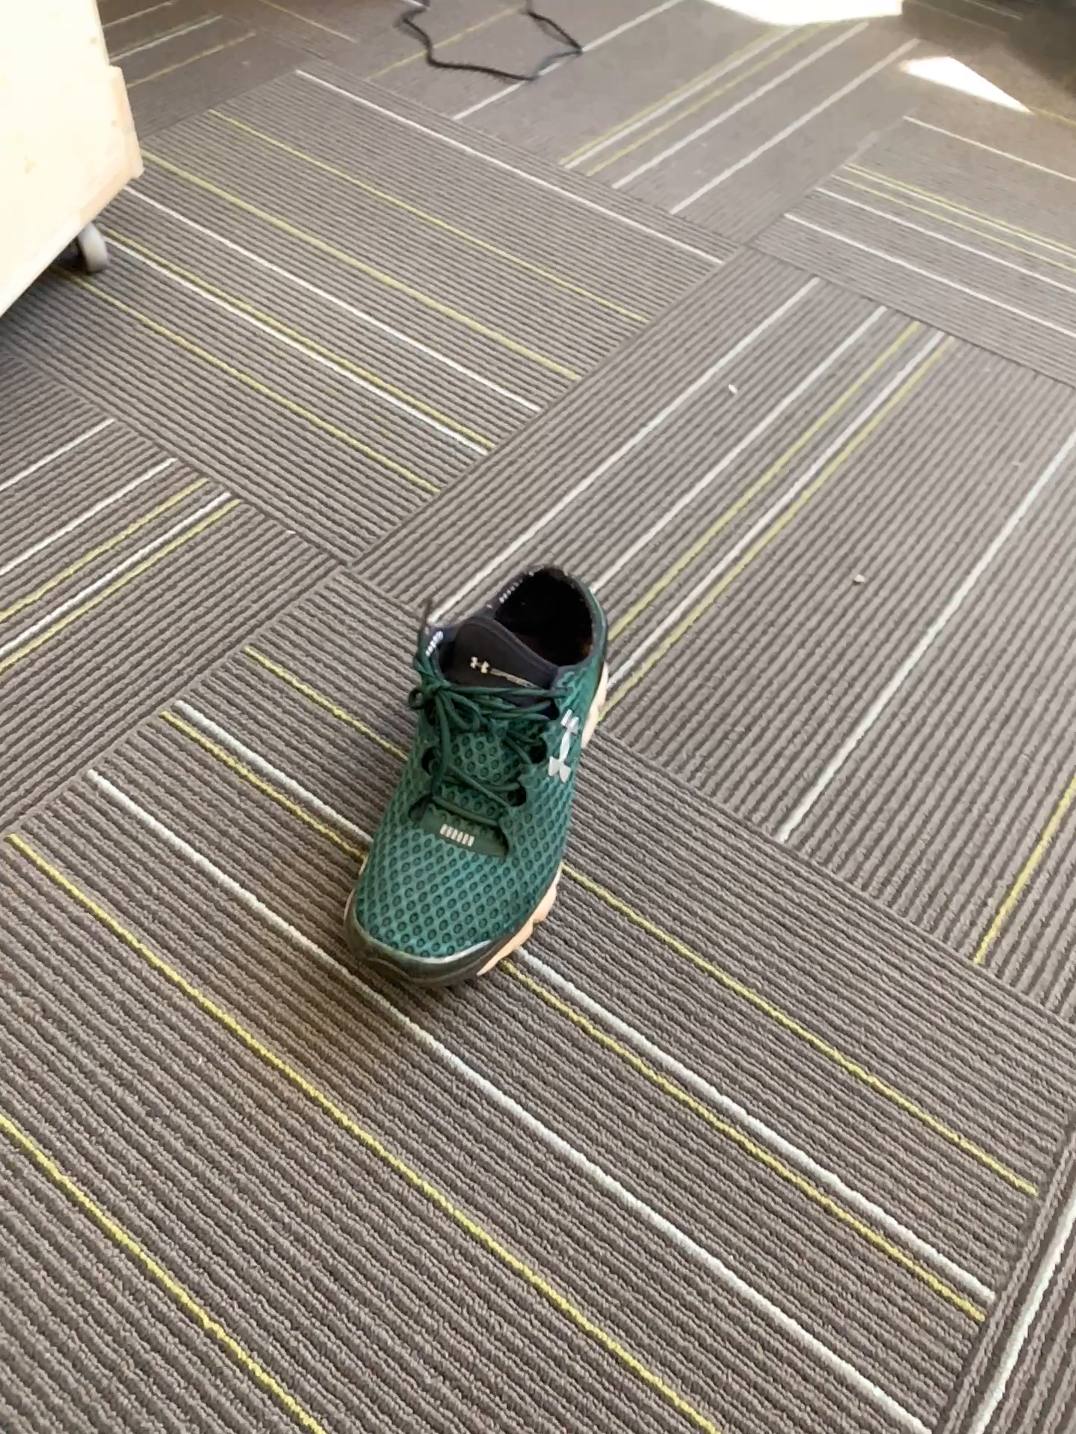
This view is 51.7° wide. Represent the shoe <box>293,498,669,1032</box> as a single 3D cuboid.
[{"bbox_3d":[-0.024,0.019,0.697,0.120,0.119,0.301,18,54,9],"label":"shoe"}]
